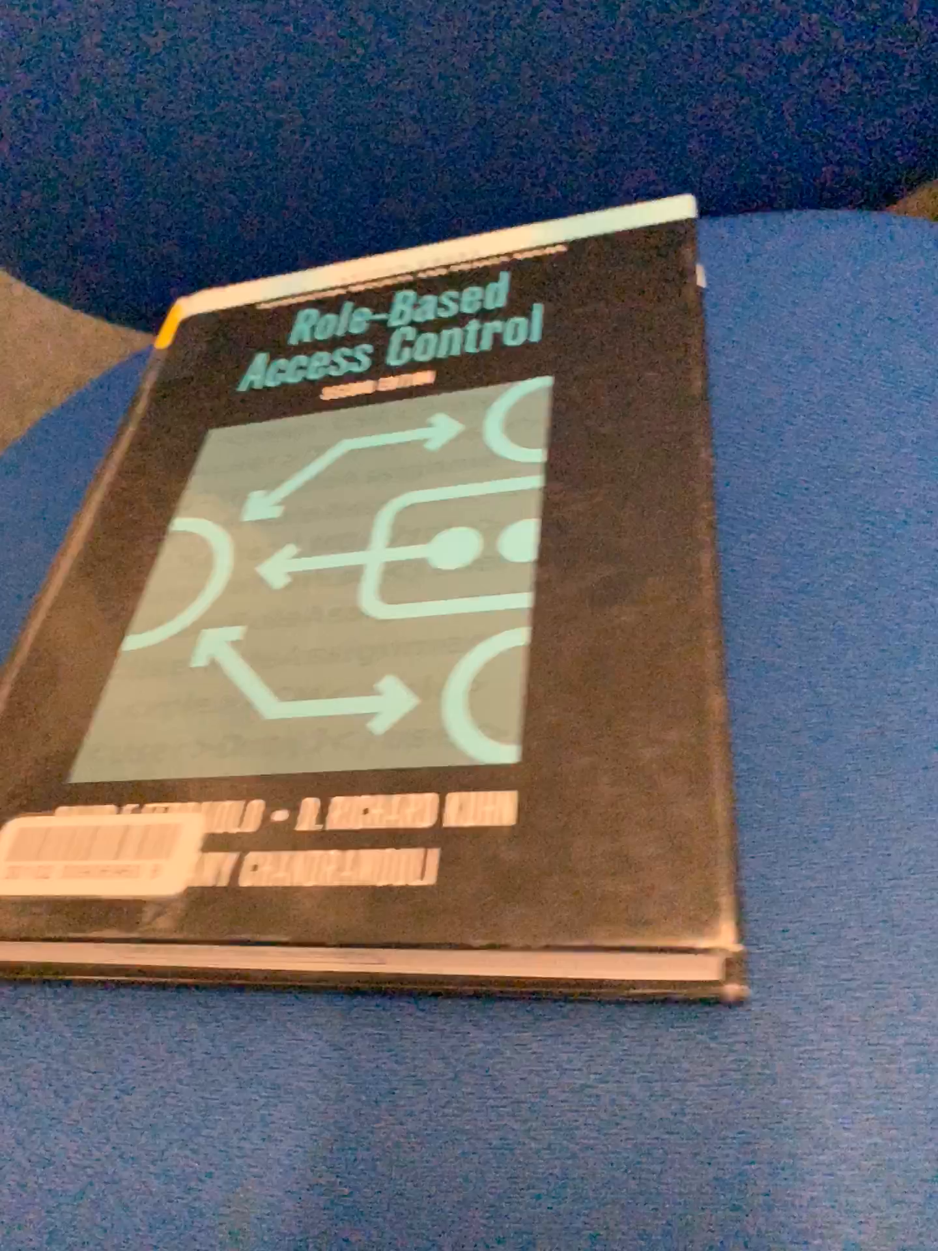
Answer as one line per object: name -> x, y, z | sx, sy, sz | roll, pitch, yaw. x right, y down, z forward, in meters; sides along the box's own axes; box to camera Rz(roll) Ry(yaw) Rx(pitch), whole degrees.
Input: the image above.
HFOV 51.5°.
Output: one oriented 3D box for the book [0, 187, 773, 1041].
book -> -0.027, -0.023, 0.262 | 0.190, 0.030, 0.241 | -5, 51, 16
